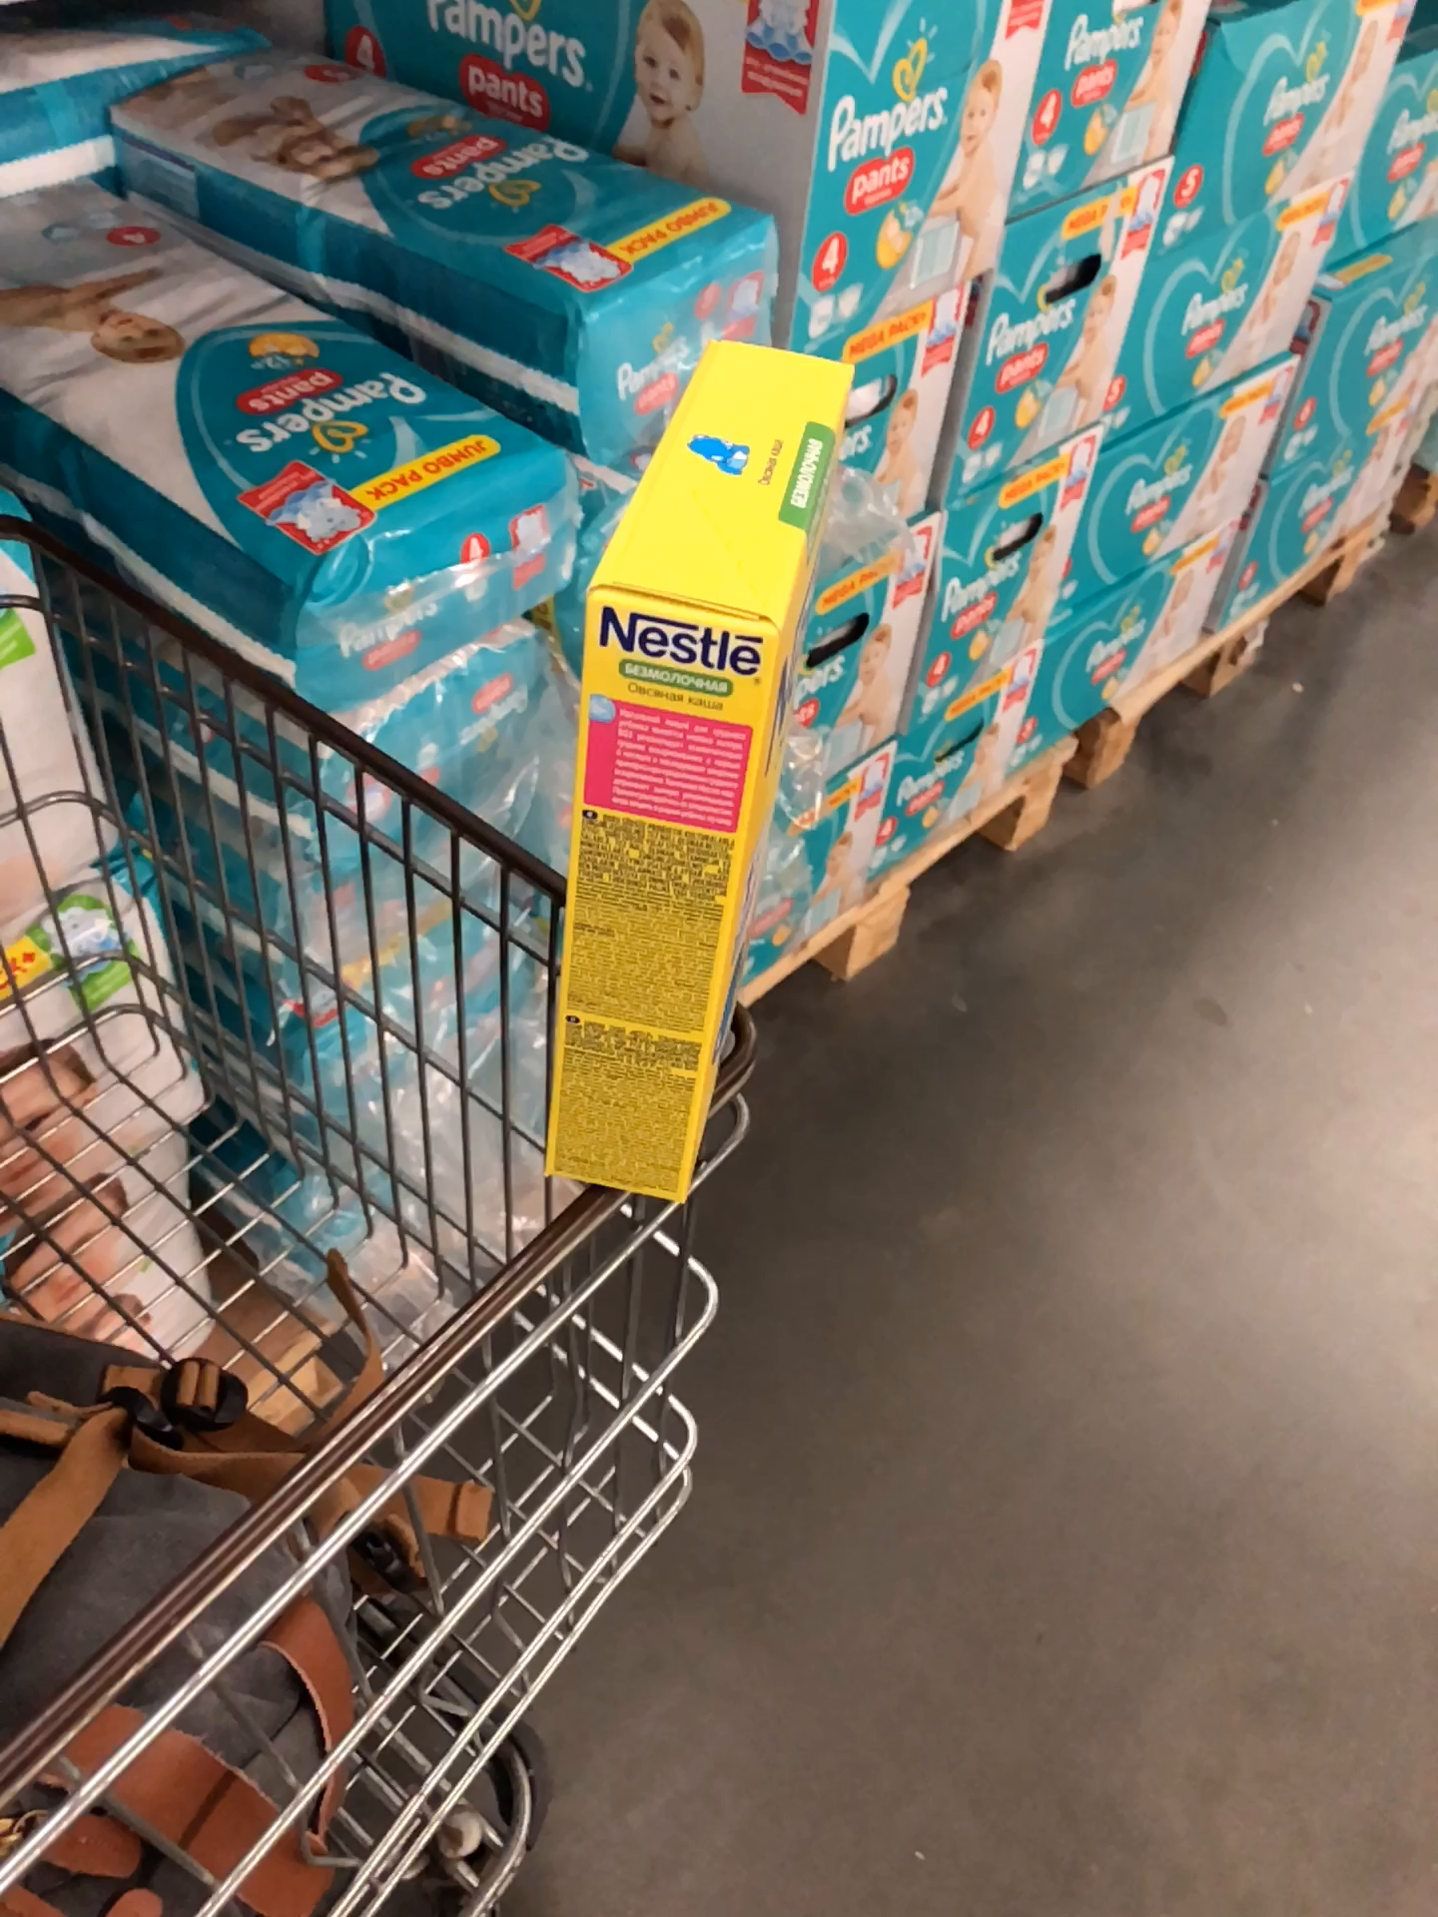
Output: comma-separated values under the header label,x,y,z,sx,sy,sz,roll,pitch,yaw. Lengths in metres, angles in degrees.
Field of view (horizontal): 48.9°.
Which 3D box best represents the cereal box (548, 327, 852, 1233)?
label,x,y,z,sx,sy,sz,roll,pitch,yaw
cereal box,-0.006,-0.047,0.444,0.040,0.199,0.151,11,42,2
